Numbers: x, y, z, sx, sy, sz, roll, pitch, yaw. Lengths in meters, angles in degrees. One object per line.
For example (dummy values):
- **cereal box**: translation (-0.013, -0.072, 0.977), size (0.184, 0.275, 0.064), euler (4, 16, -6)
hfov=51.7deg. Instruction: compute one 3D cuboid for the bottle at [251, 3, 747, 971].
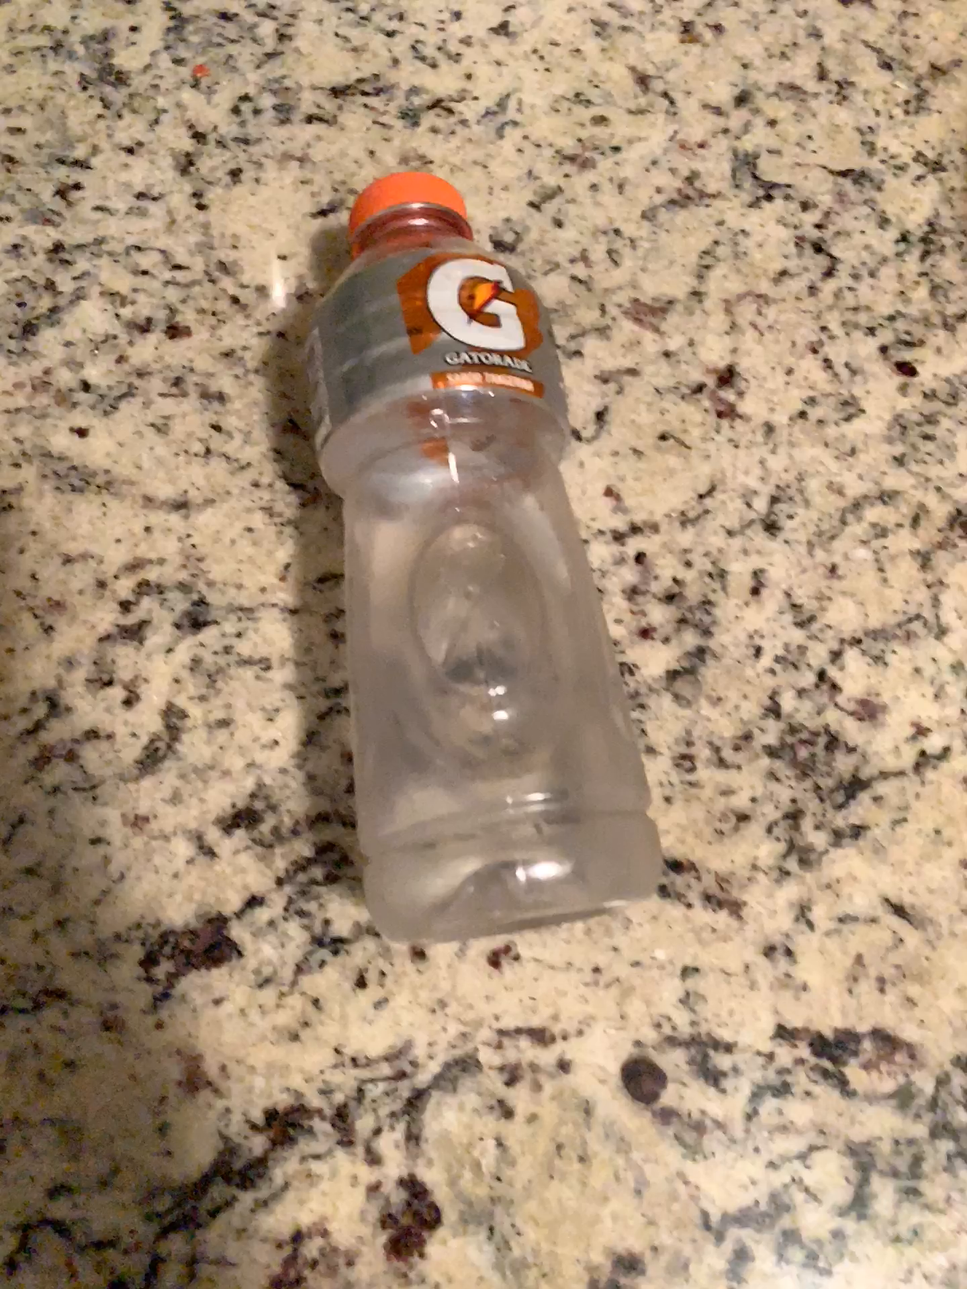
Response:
- **bottle**: translation (-0.007, -0.041, 0.244), size (0.070, 0.070, 0.220), euler (-7, 72, -6)
